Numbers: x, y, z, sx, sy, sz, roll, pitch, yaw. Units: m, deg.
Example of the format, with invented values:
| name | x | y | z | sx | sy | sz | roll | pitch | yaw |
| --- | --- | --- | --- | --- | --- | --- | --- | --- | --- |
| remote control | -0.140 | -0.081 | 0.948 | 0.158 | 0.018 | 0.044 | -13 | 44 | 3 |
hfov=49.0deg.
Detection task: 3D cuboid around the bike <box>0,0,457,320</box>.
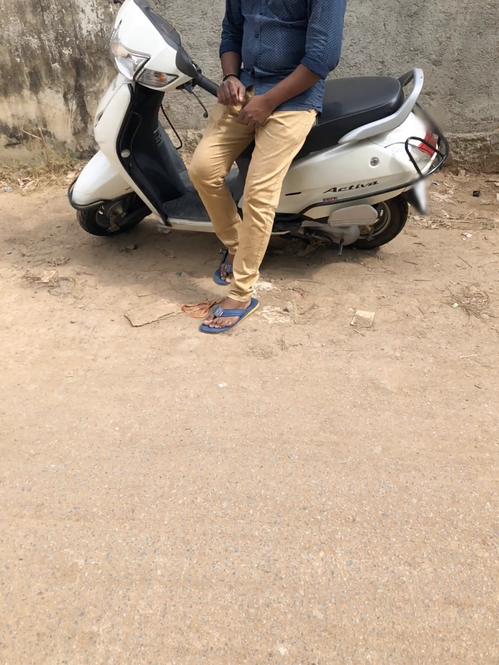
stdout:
| name | x | y | z | sx | sy | sz | roll | pitch | yaw |
| --- | --- | --- | --- | --- | --- | --- | --- | --- | --- |
| bike | -0.108 | -0.732 | 2.330 | 1.622 | 1.139 | 0.673 | 2 | 37 | 6 |
